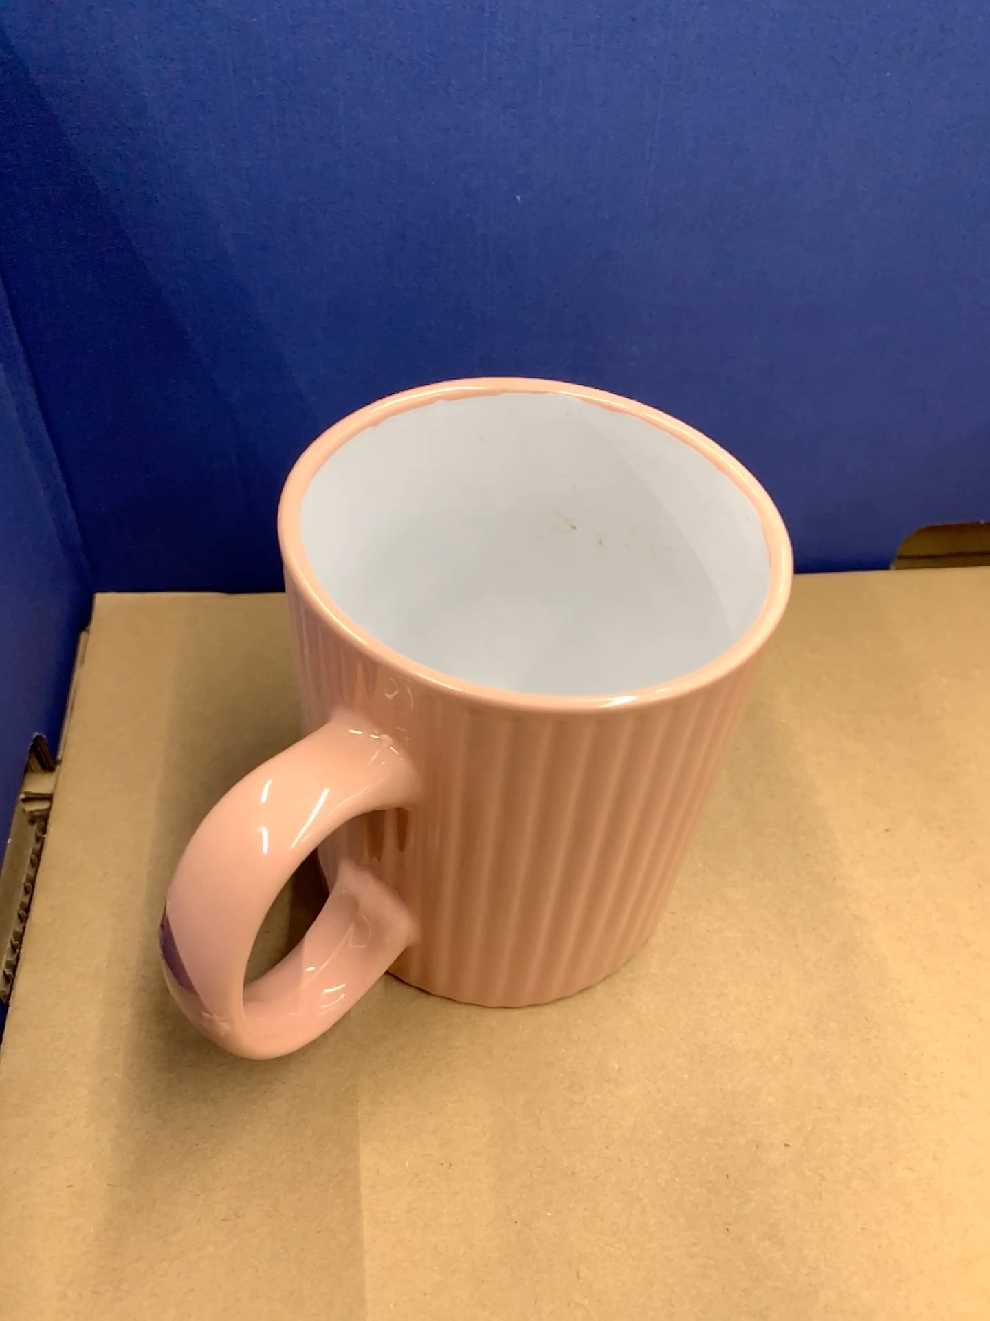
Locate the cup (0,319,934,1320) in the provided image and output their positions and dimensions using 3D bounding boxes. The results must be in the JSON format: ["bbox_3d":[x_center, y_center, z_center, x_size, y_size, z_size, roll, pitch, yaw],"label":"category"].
[{"bbox_3d":[0.000,0.025,0.224,0.102,0.128,0.155,27,46,26],"label":"cup"}]
